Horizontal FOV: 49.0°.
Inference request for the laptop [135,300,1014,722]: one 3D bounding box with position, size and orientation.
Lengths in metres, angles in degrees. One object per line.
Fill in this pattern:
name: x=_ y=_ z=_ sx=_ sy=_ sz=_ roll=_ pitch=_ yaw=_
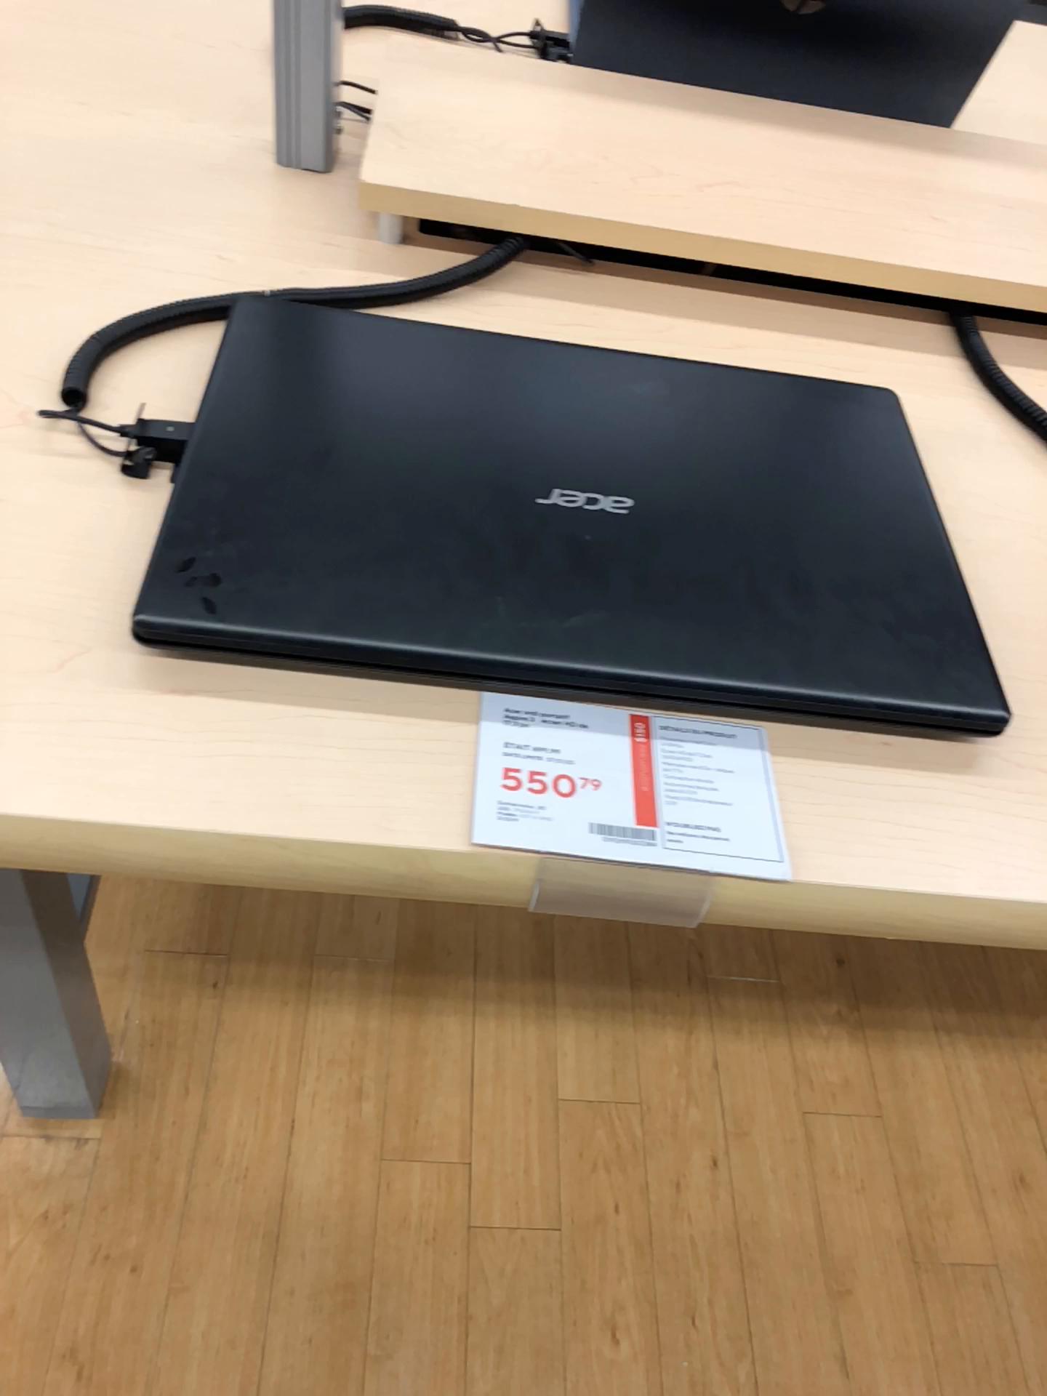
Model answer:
laptop: x=0.031 y=-0.114 z=0.623 sx=0.416 sy=0.001 sz=0.268 roll=6 pitch=49 yaw=-6
